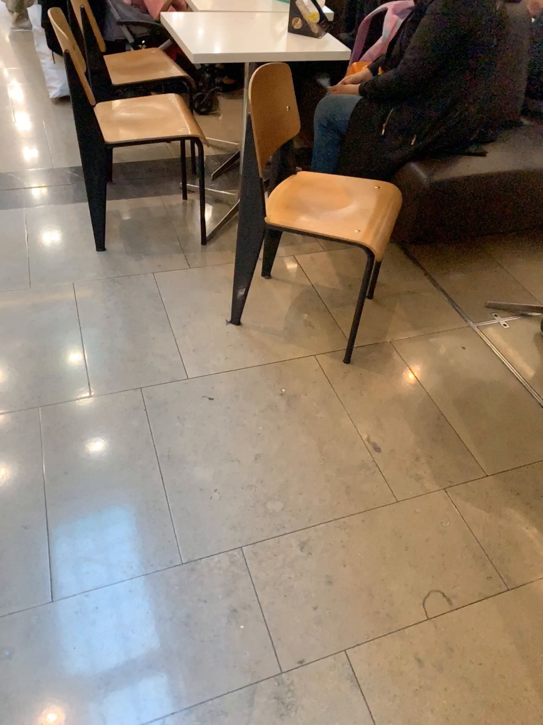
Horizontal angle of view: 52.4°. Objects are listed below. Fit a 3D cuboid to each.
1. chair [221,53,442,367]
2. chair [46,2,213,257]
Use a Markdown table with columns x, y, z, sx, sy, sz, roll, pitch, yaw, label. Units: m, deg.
| x | y | z | sx | sy | sz | roll | pitch | yaw | label |
| --- | --- | --- | --- | --- | --- | --- | --- | --- | --- |
| 0.159 | -0.465 | 1.758 | 0.495 | 0.767 | 0.421 | 17 | 45 | 10 | chair |
| -0.520 | -0.875 | 2.117 | 0.495 | 0.767 | 0.431 | -9 | 46 | -16 | chair |
